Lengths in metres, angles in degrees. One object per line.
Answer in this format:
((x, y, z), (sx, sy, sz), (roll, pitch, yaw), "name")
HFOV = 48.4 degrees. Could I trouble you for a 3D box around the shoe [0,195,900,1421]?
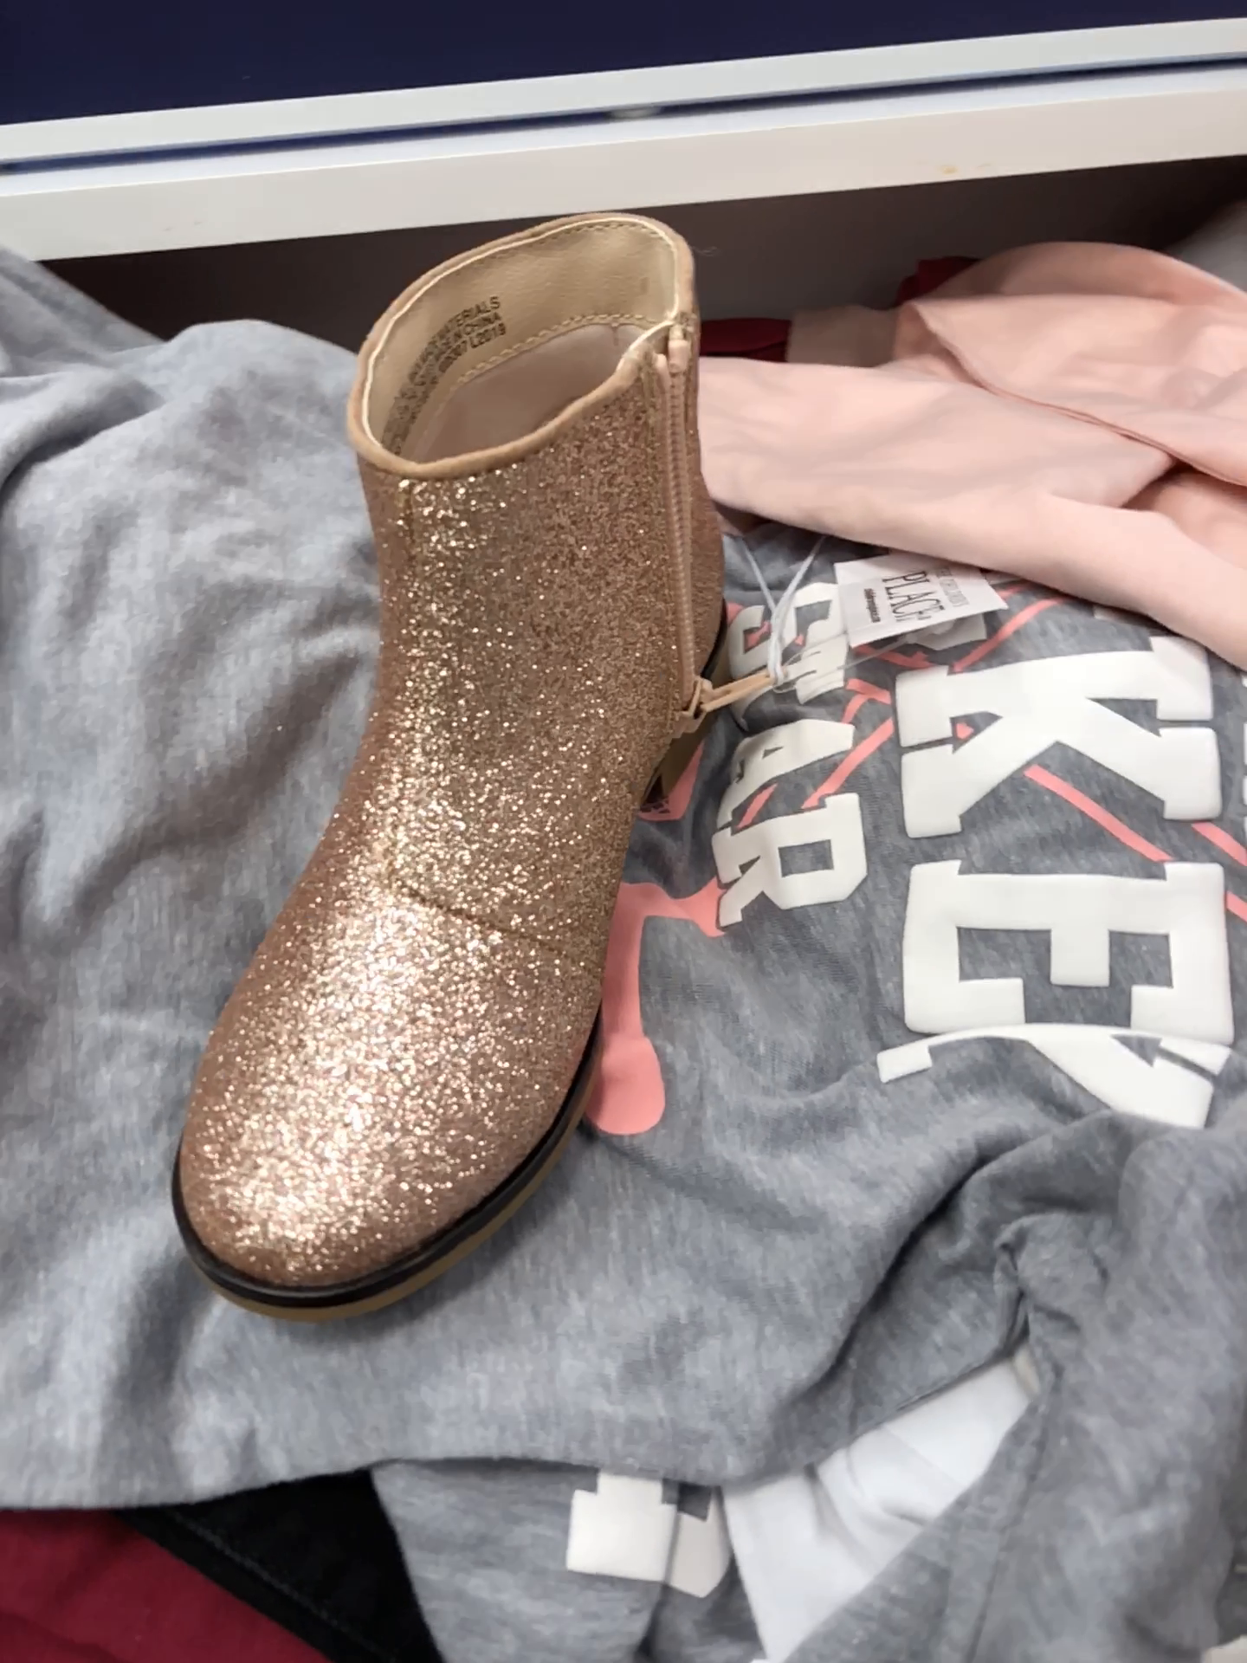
((-0.017, -0.034, 0.283), (0.083, 0.129, 0.238), (11, 38, 21), "shoe")
